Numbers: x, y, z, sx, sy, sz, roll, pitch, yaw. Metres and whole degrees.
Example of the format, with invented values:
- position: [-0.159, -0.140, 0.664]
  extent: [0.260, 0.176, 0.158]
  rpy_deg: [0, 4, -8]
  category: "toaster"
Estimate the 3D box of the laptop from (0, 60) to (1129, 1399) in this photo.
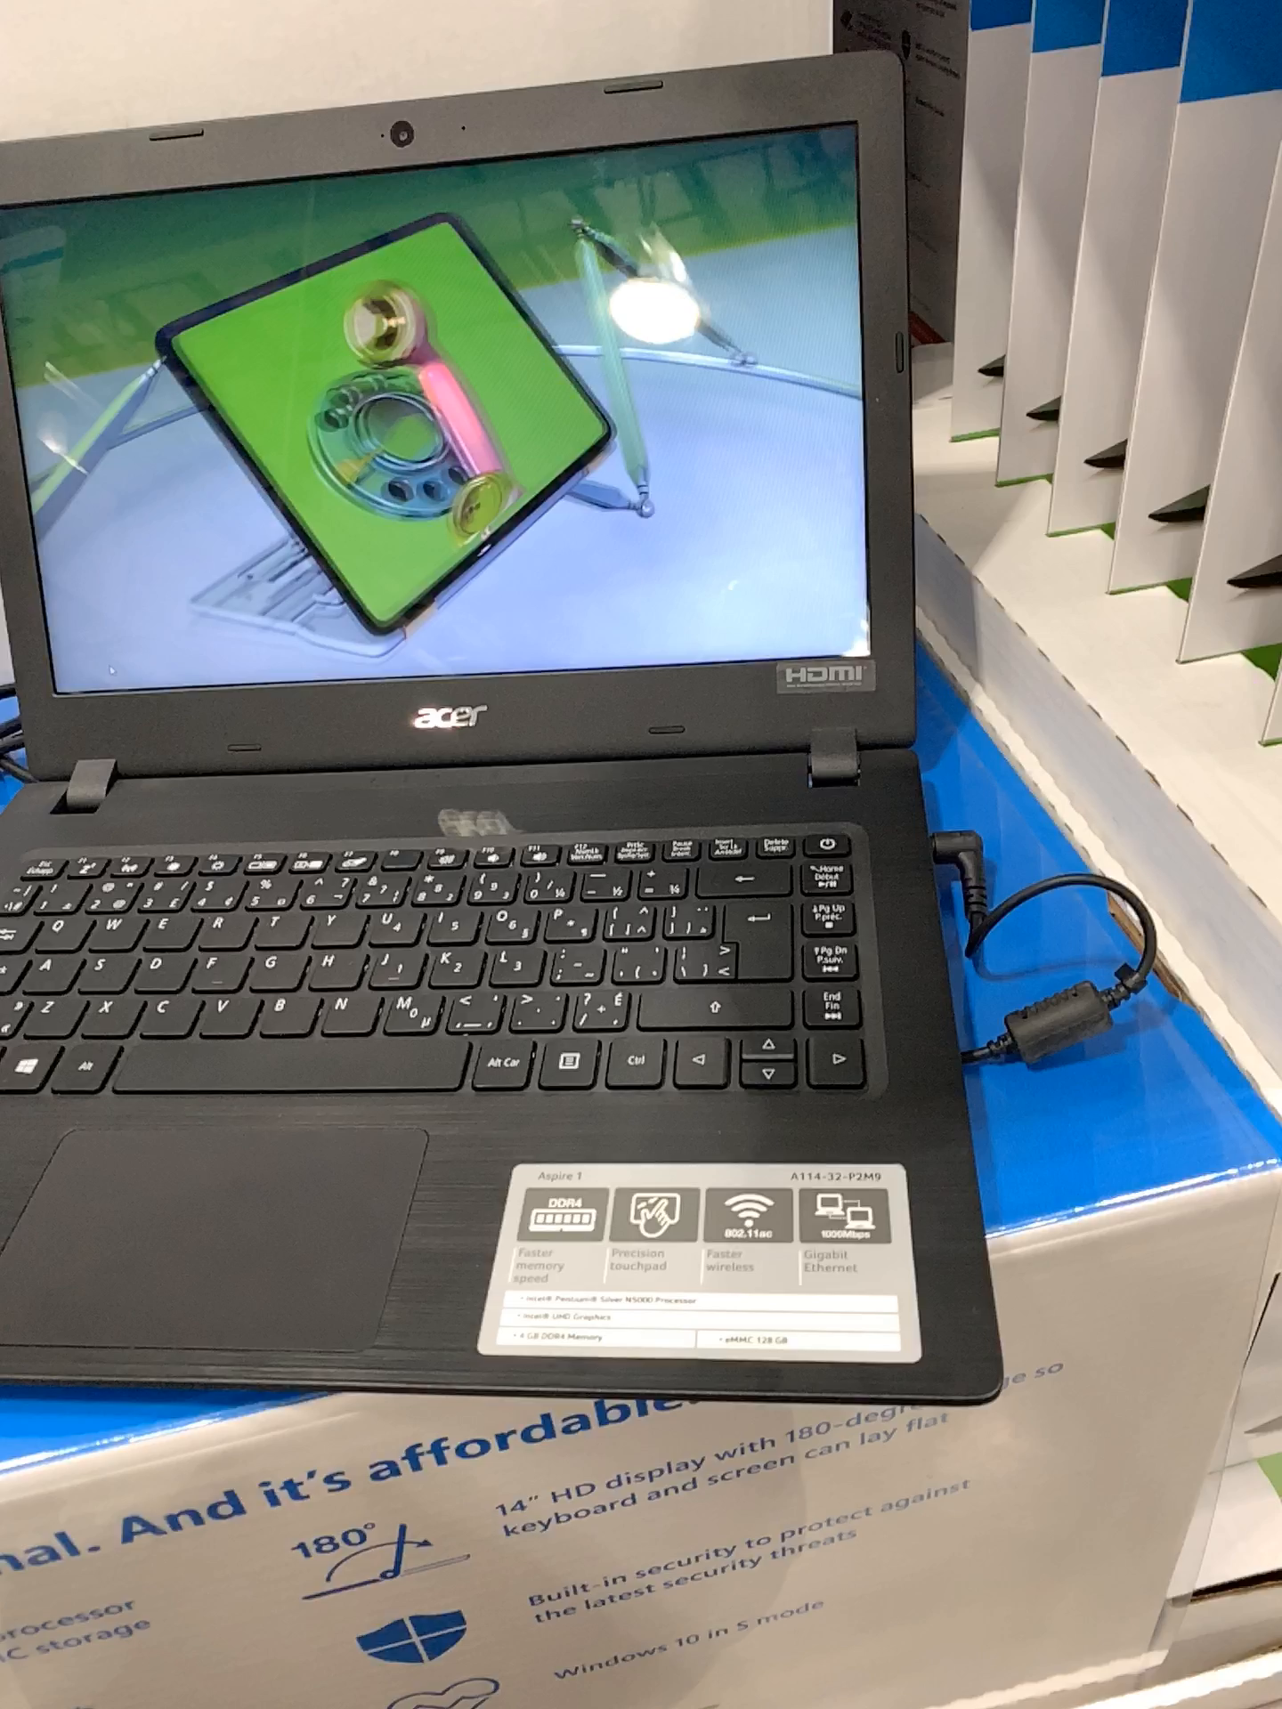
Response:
- position: [-0.081, -0.062, 0.354]
  extent: [0.318, 0.186, 0.329]
  rpy_deg: [-1, 39, 8]
  category: "laptop"
